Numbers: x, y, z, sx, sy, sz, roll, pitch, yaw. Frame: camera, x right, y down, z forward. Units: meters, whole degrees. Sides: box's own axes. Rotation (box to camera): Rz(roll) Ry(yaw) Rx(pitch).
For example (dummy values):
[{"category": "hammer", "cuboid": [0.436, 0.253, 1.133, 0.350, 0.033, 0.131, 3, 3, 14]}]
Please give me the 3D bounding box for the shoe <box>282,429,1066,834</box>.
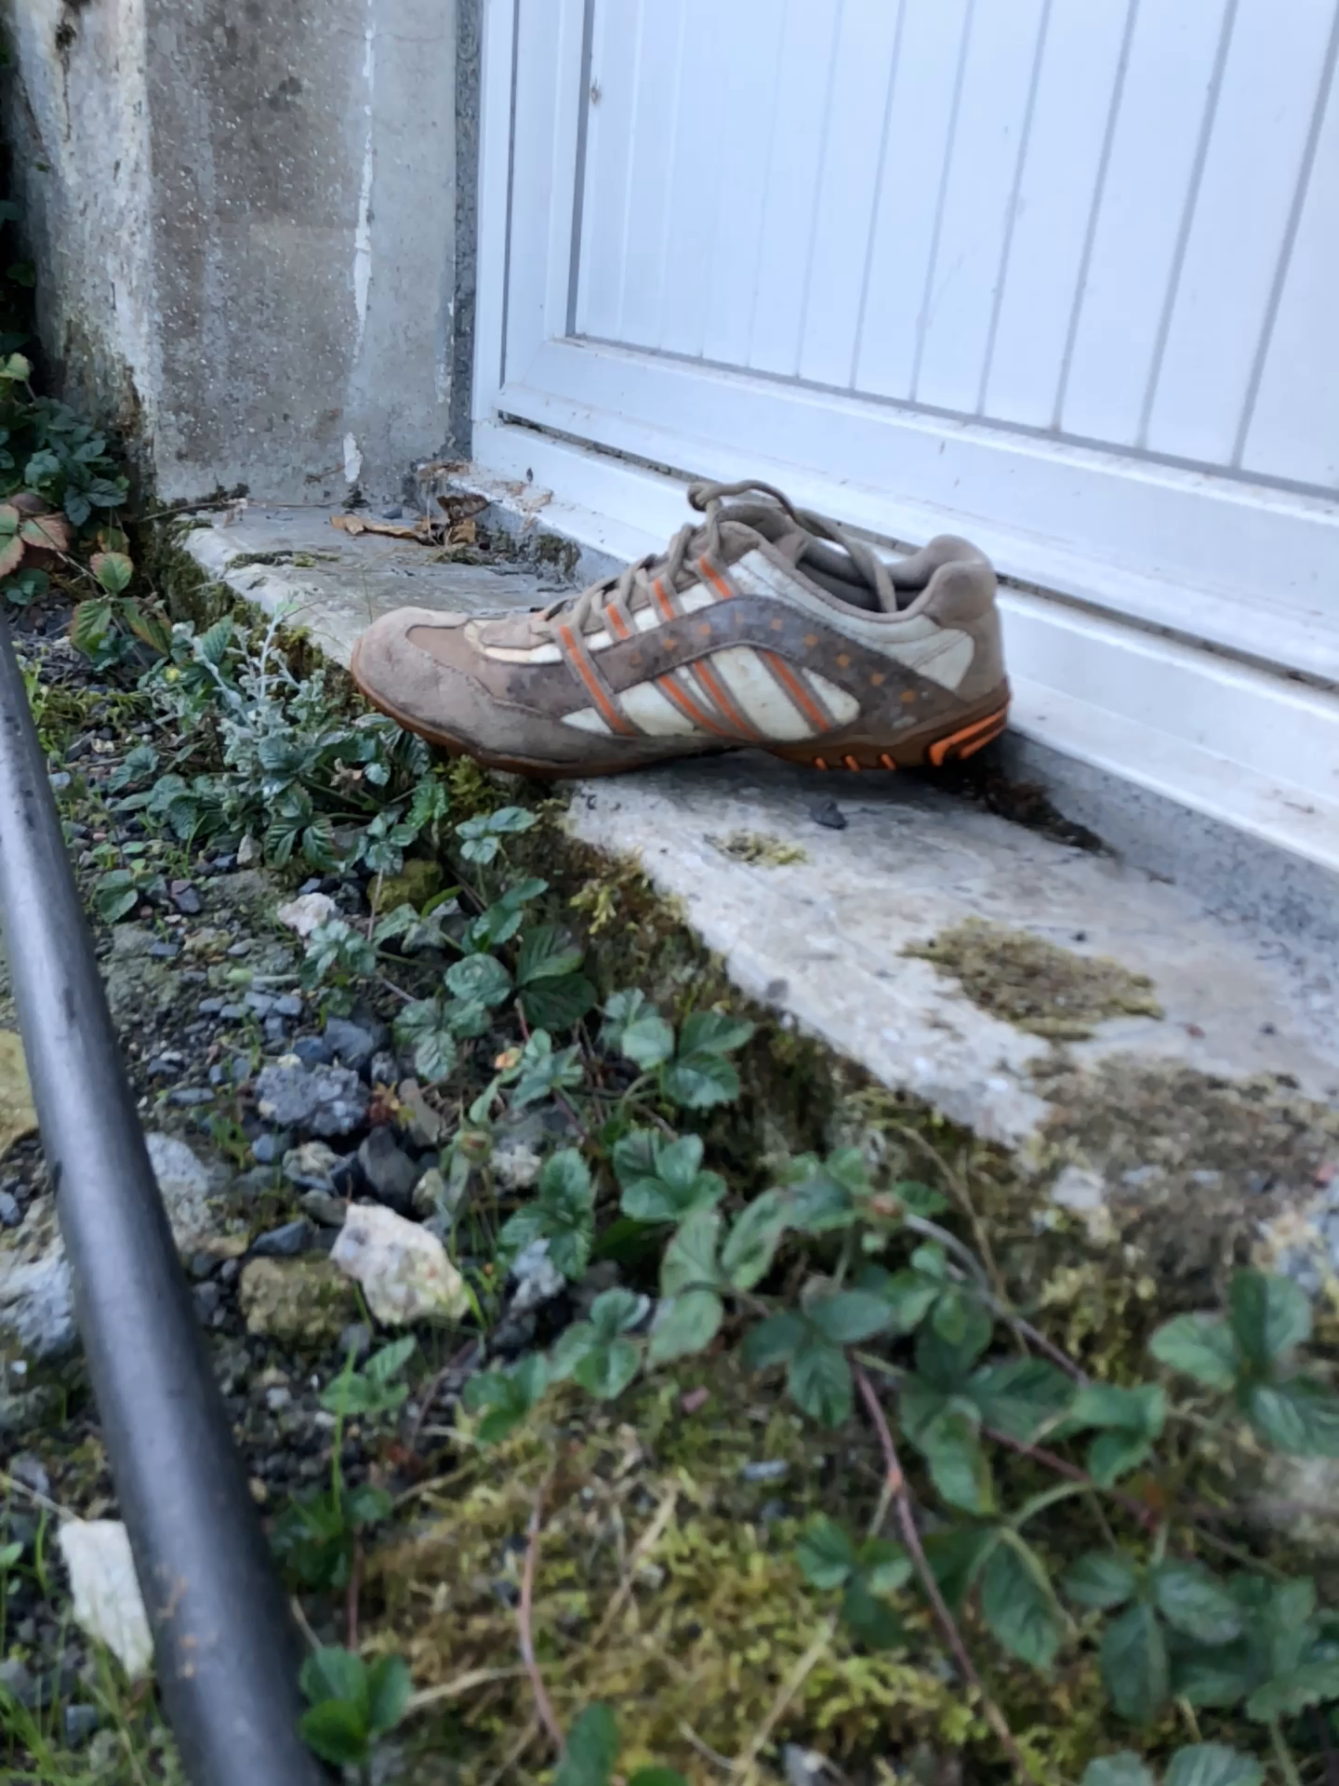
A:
[{"category": "shoe", "cuboid": [0.003, -0.107, 0.564, 0.270, 0.099, 0.111, 9, 23, 7]}]
